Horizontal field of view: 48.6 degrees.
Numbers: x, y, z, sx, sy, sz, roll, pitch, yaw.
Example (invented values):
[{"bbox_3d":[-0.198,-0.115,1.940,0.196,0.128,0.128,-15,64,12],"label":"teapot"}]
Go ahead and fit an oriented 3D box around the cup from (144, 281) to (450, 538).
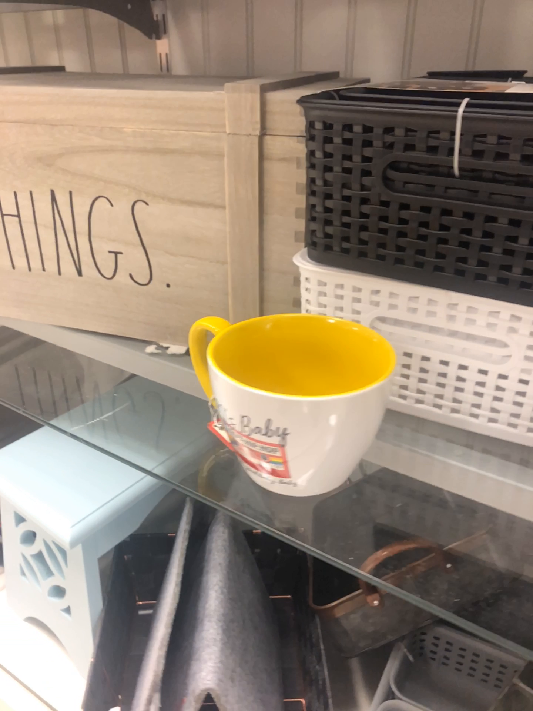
[{"bbox_3d":[0.022,0.023,0.405,0.157,0.076,0.127,19,35,30],"label":"cup"}]
